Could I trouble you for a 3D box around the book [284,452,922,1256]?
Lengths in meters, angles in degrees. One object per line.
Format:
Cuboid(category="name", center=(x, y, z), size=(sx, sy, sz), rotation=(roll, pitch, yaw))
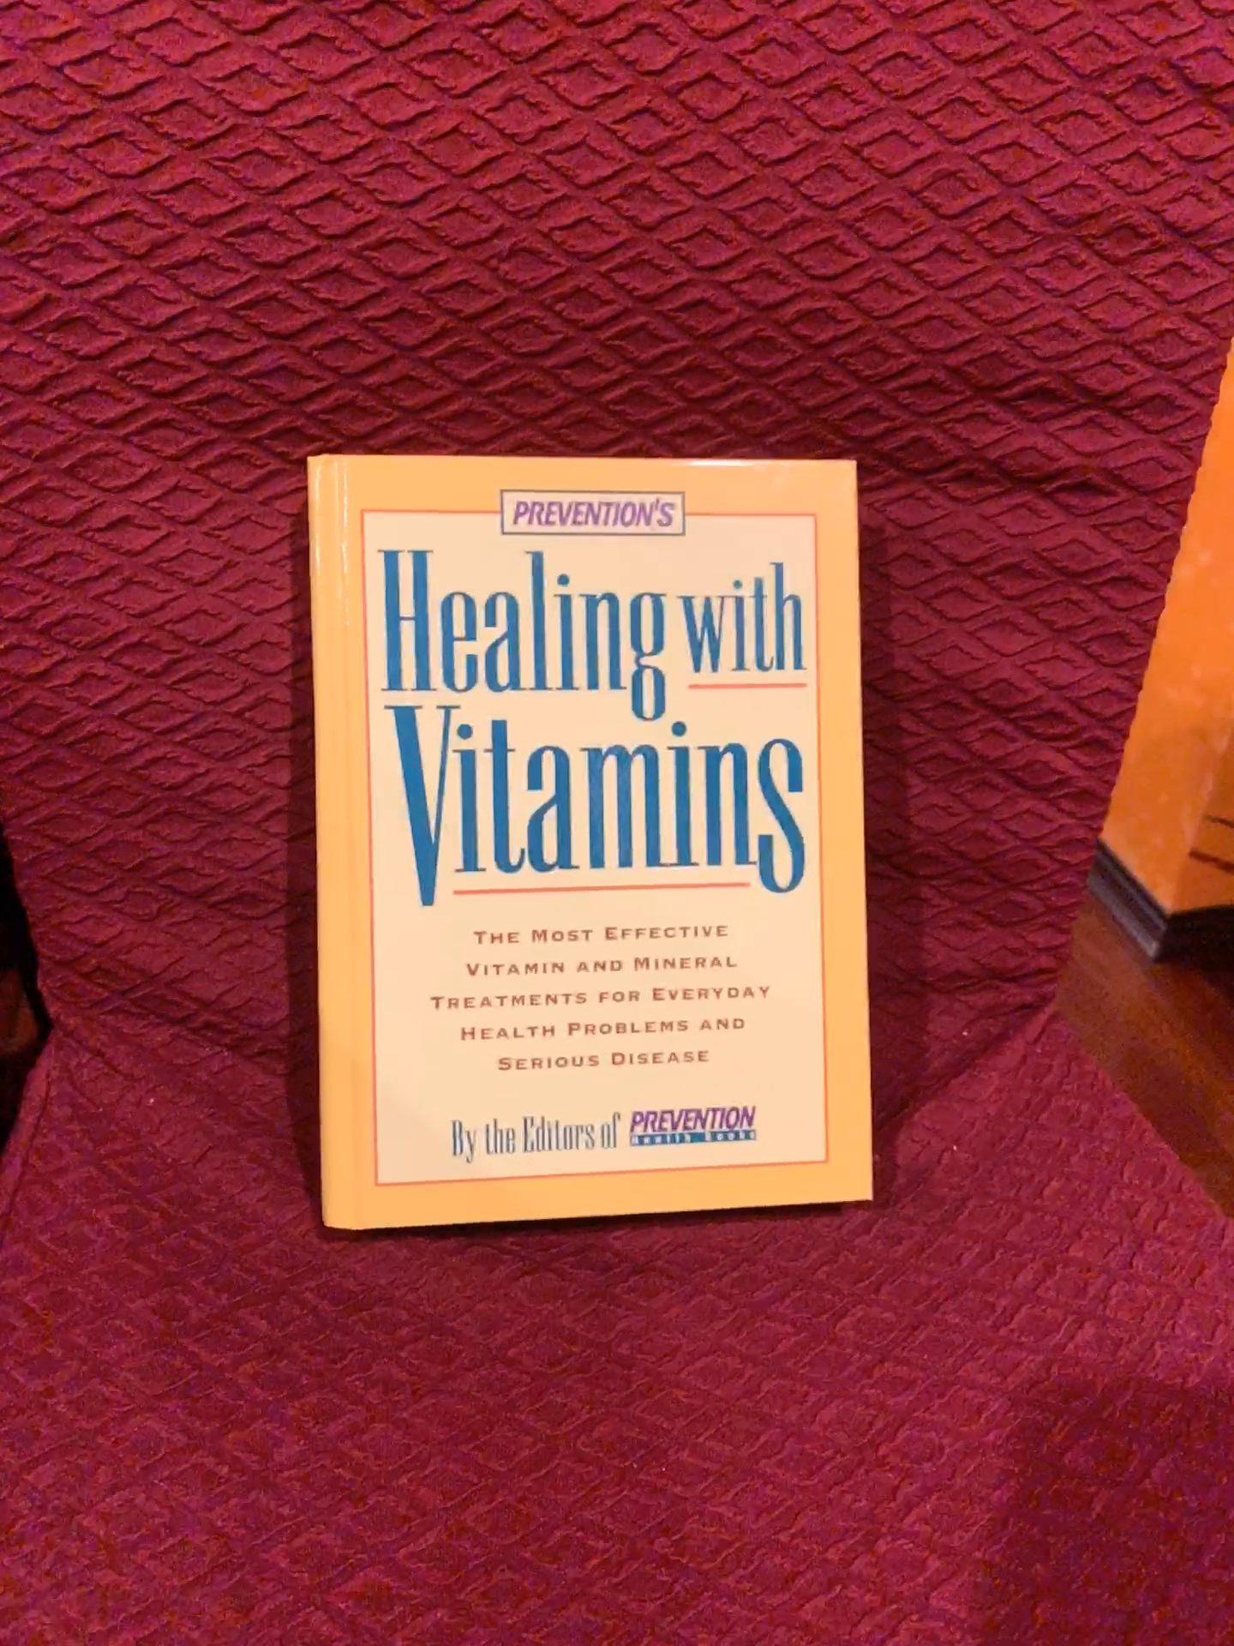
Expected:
Cuboid(category="book", center=(-0.003, 0.007, 0.410), size=(0.190, 0.240, 0.040), rotation=(-2, 1, -6))
